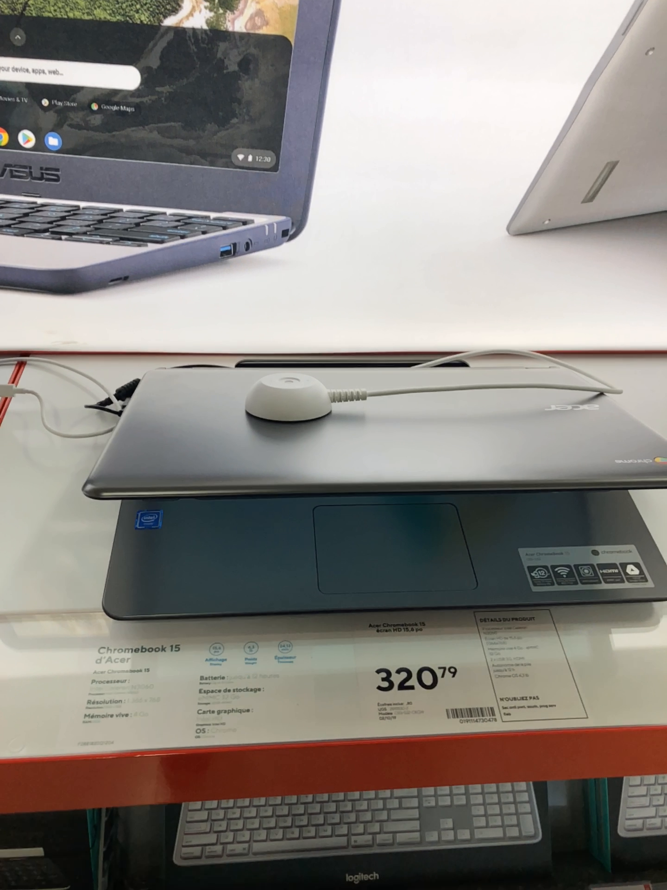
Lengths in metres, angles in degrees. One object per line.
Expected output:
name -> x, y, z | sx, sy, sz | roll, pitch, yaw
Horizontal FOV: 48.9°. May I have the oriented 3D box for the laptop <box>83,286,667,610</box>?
laptop -> 0.036, -0.013, 0.531 | 0.369, 0.088, 0.249 | -1, 40, -4
